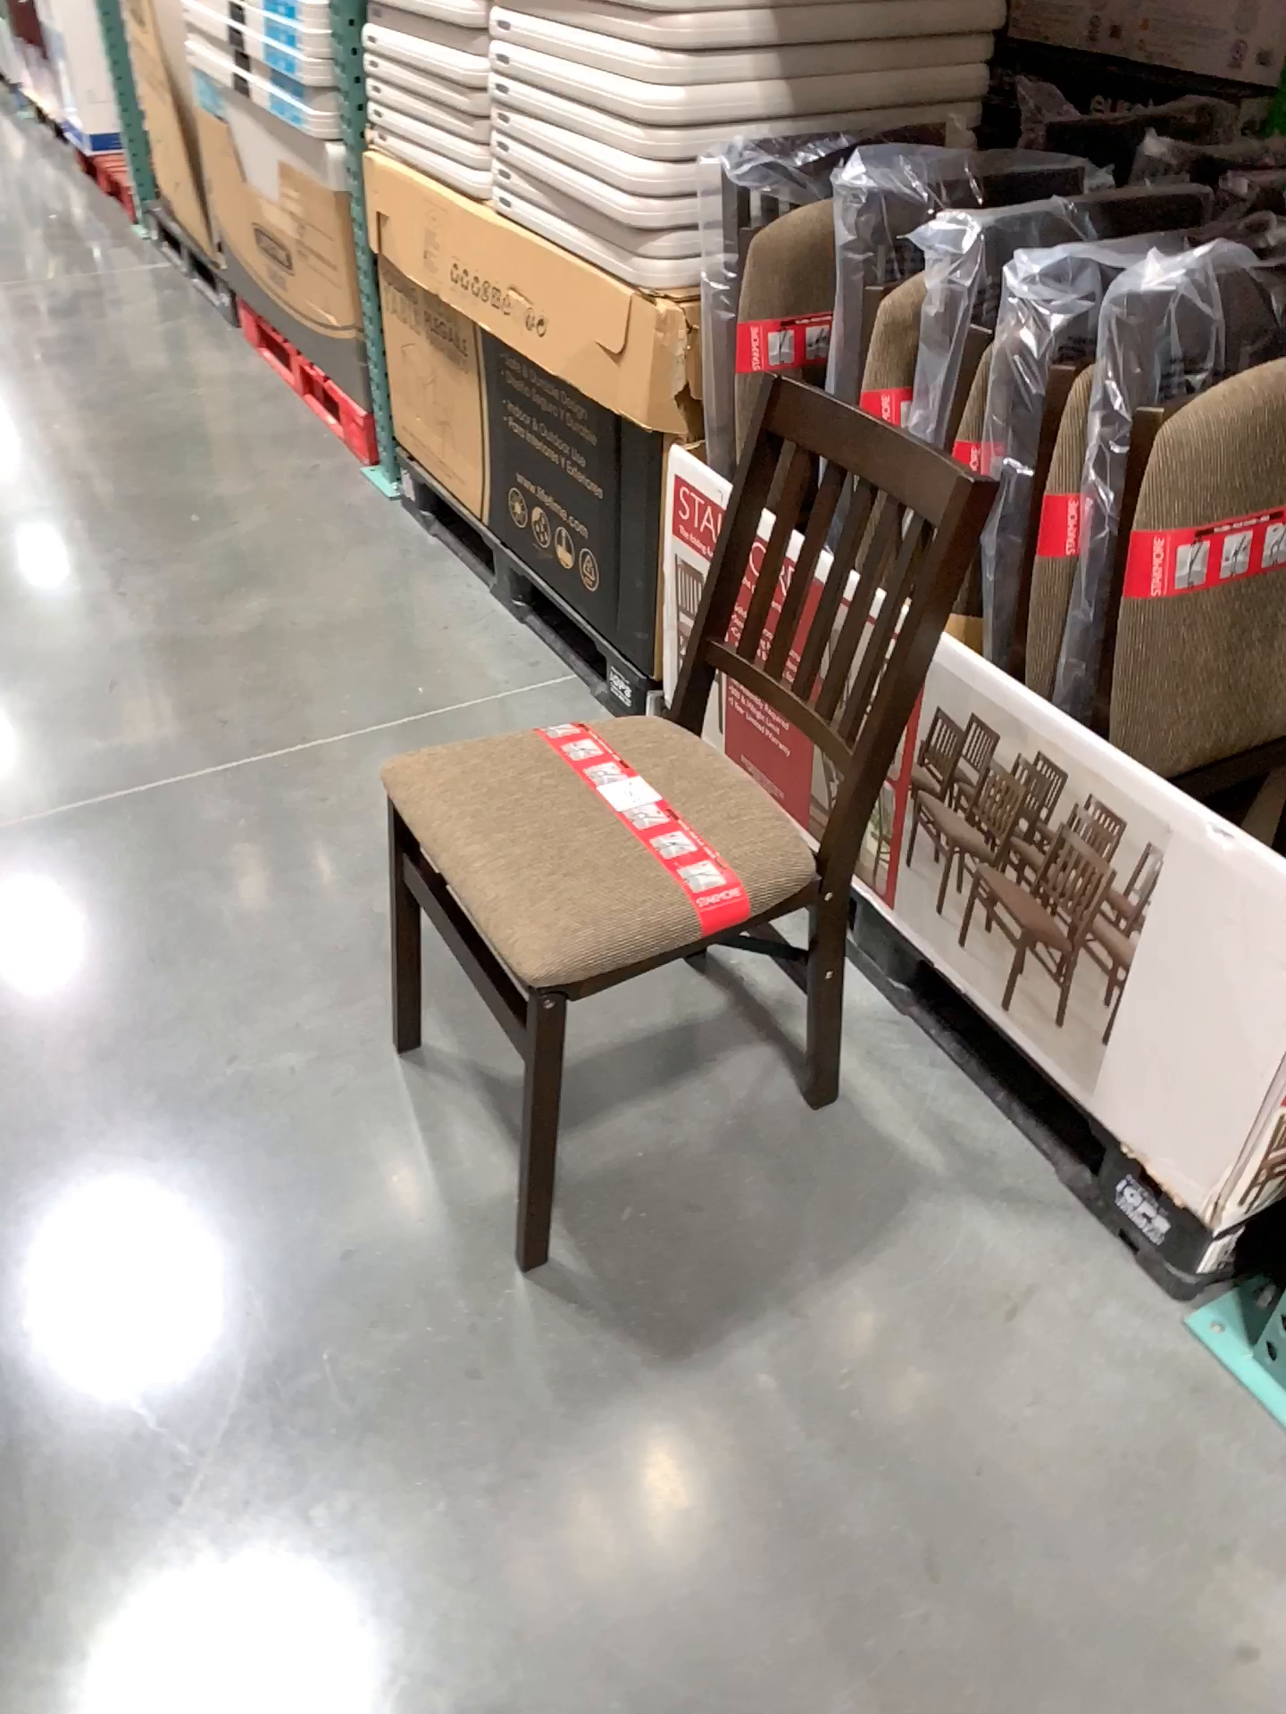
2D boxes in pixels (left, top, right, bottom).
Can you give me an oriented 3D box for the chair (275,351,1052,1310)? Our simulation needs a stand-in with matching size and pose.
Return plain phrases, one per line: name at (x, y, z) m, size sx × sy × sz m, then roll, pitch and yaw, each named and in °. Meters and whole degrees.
chair at (0.005, -0.029, 1.453) m, size 0.572 × 0.837 × 0.422 m, roll -20°, pitch 43°, yaw -24°
